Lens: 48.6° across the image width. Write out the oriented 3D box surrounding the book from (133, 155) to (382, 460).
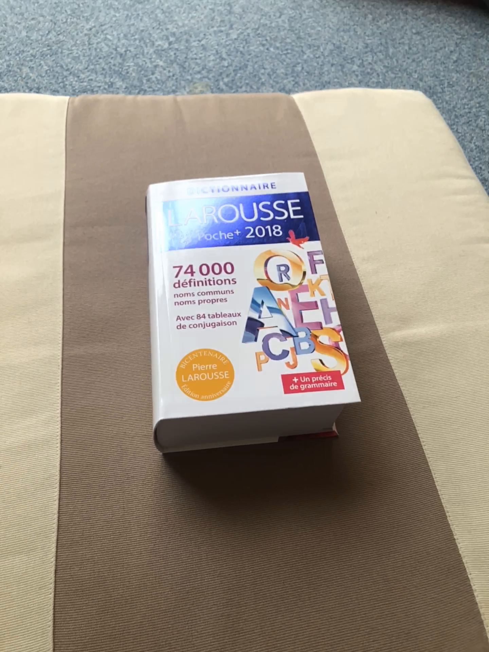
[{"bbox_3d":[-0.005,-0.023,0.362,0.130,0.060,0.200,-3,56,-8],"label":"book"}]
